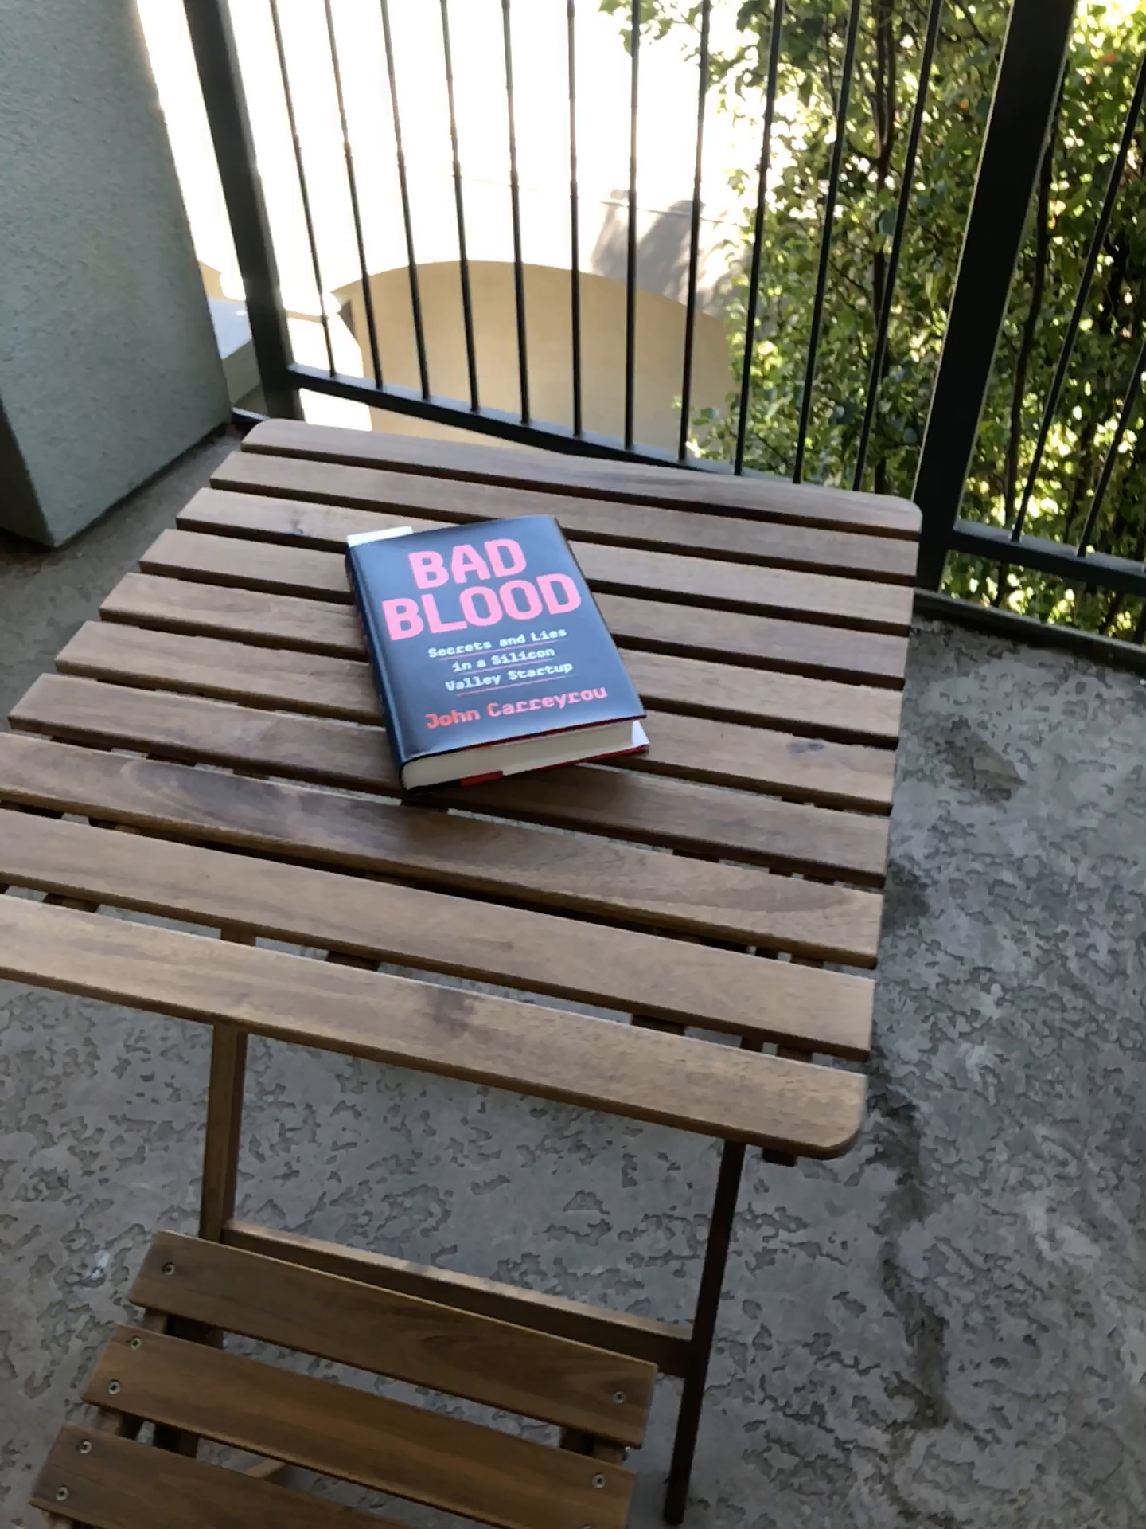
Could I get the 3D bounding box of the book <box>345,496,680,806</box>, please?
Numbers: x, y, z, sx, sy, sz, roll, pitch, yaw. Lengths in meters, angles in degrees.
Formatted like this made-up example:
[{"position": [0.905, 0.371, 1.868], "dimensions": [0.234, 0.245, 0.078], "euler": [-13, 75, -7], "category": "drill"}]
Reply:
[{"position": [-0.050, -0.091, 0.900], "dimensions": [0.180, 0.050, 0.241], "euler": [-12, 46, -11], "category": "book"}]
